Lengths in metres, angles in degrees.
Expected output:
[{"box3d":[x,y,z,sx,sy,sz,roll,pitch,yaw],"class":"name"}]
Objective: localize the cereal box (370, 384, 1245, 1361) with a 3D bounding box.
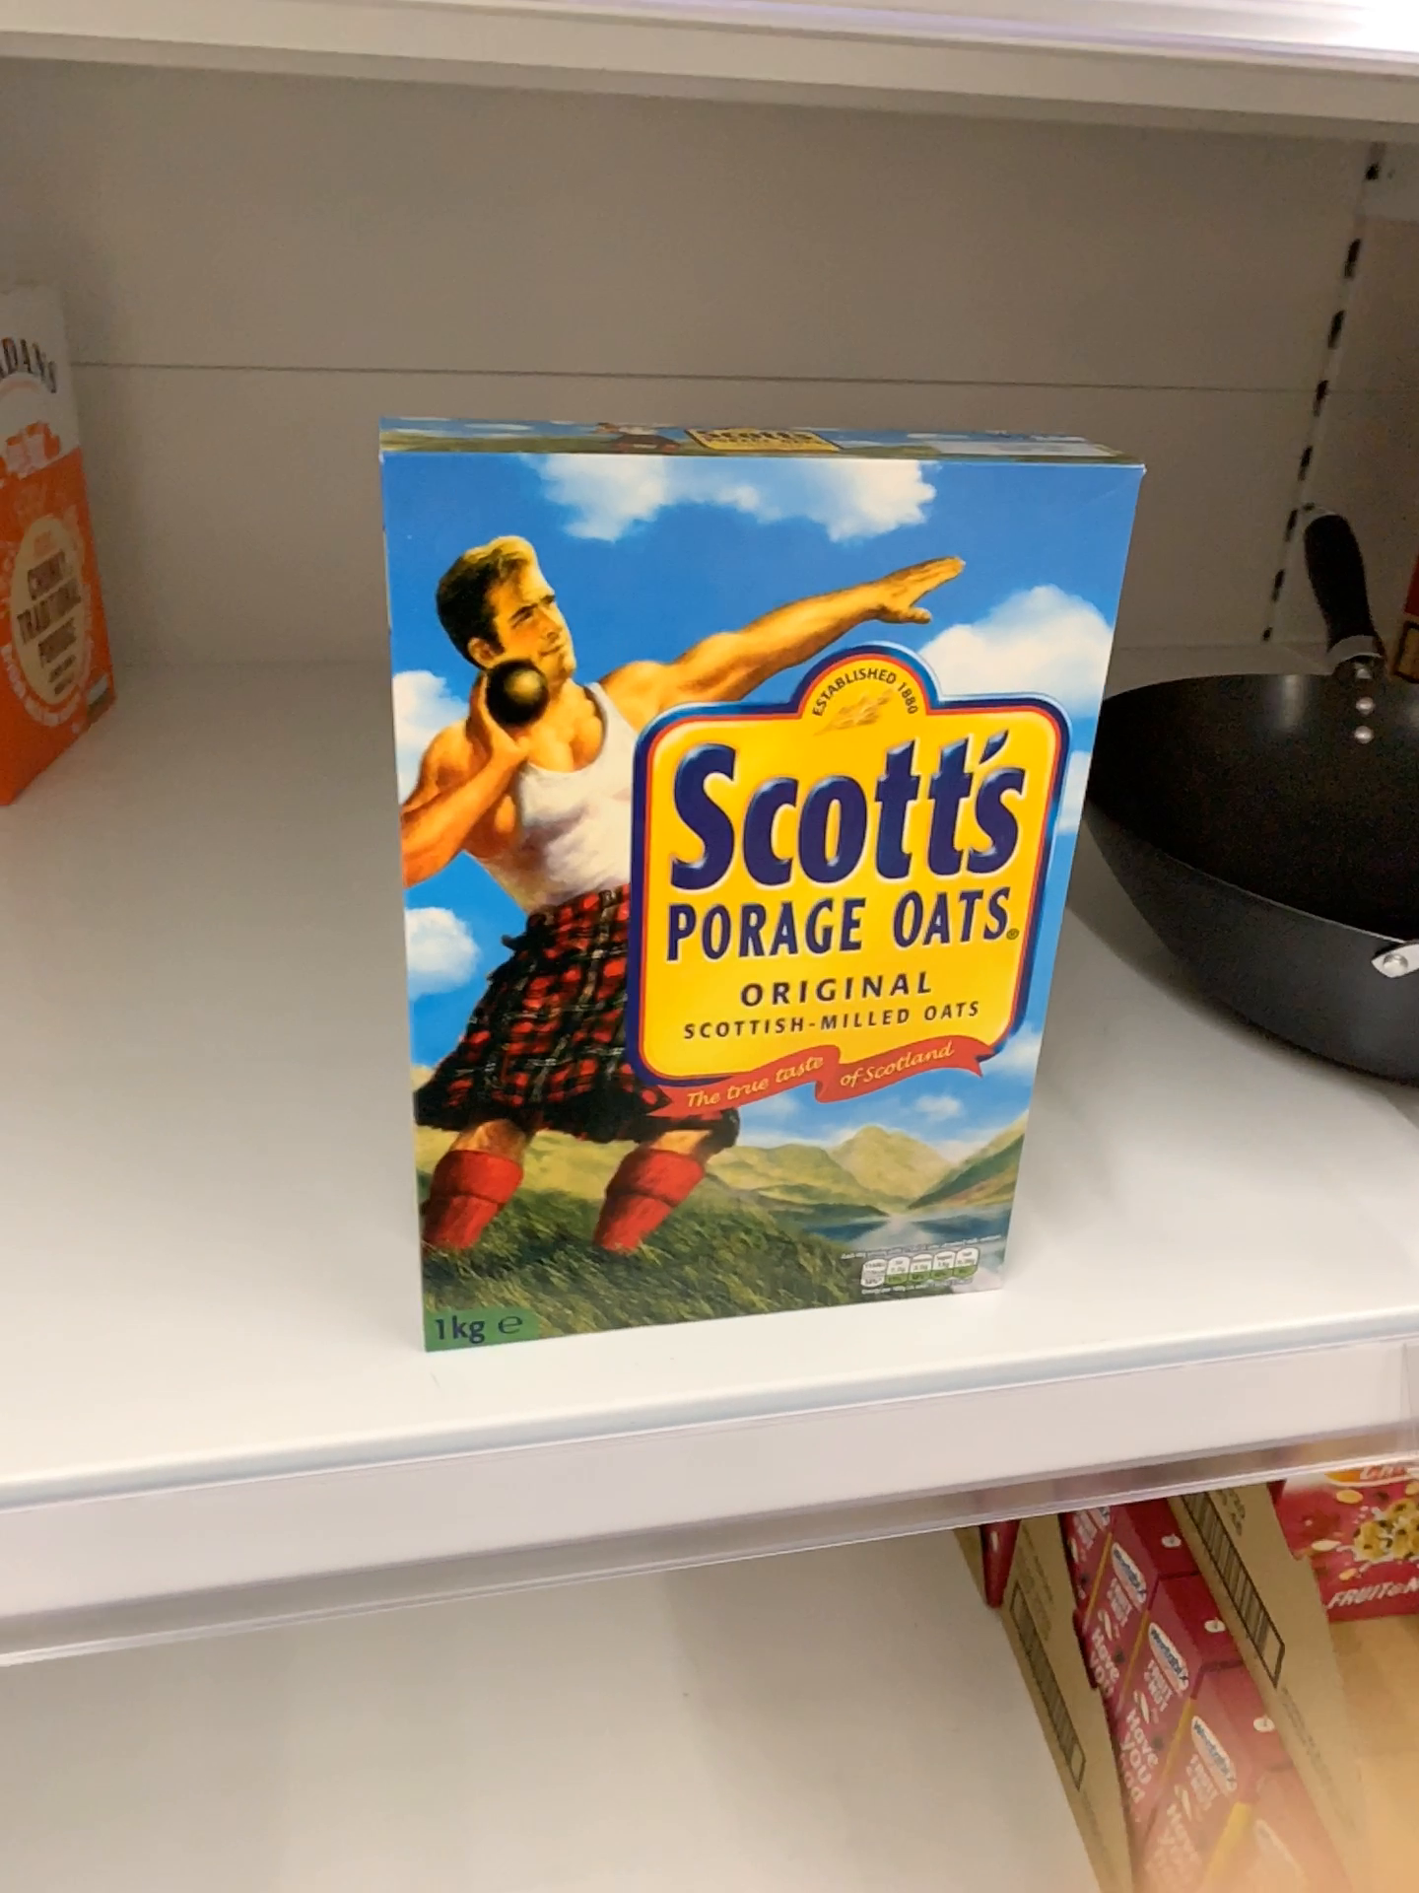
[{"box3d":[0.015,-0.016,0.430,0.210,0.268,0.071,-3,28,-12],"class":"cereal box"}]
